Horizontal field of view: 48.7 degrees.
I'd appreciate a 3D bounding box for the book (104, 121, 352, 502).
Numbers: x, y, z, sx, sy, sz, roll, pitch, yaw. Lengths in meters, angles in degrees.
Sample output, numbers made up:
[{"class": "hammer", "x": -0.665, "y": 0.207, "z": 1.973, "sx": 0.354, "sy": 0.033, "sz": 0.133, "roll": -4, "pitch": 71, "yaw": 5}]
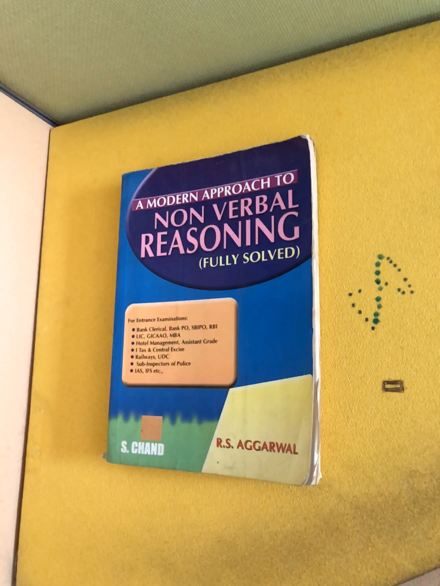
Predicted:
[{"class": "book", "x": 0.003, "y": 0.012, "z": 0.358, "sx": 0.170, "sy": 0.040, "sz": 0.240, "roll": -4, "pitch": 78, "yaw": 26}]
